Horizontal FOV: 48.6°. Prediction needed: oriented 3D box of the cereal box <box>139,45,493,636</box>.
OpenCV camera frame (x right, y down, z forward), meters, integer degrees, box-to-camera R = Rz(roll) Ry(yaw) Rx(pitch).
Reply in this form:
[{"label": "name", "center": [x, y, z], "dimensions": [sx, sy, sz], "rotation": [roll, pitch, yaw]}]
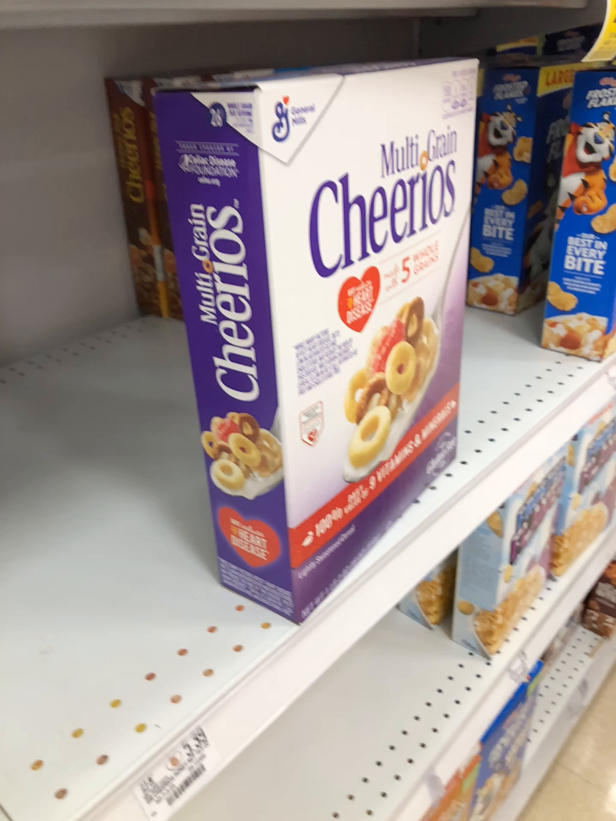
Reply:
[{"label": "cereal box", "center": [0.031, -0.061, 0.474], "dimensions": [0.070, 0.329, 0.260], "rotation": [17, 34, 31]}]
